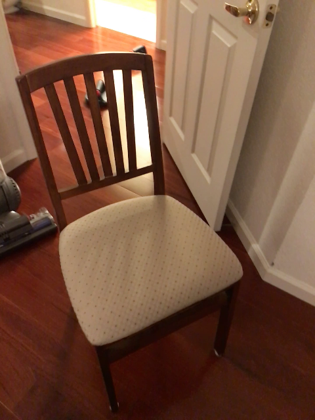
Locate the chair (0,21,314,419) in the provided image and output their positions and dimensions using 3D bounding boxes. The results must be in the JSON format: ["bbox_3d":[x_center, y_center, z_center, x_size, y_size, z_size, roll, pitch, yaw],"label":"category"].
[{"bbox_3d":[-0.069,0.082,0.967,0.501,0.923,0.563,-19,48,-19],"label":"chair"}]
